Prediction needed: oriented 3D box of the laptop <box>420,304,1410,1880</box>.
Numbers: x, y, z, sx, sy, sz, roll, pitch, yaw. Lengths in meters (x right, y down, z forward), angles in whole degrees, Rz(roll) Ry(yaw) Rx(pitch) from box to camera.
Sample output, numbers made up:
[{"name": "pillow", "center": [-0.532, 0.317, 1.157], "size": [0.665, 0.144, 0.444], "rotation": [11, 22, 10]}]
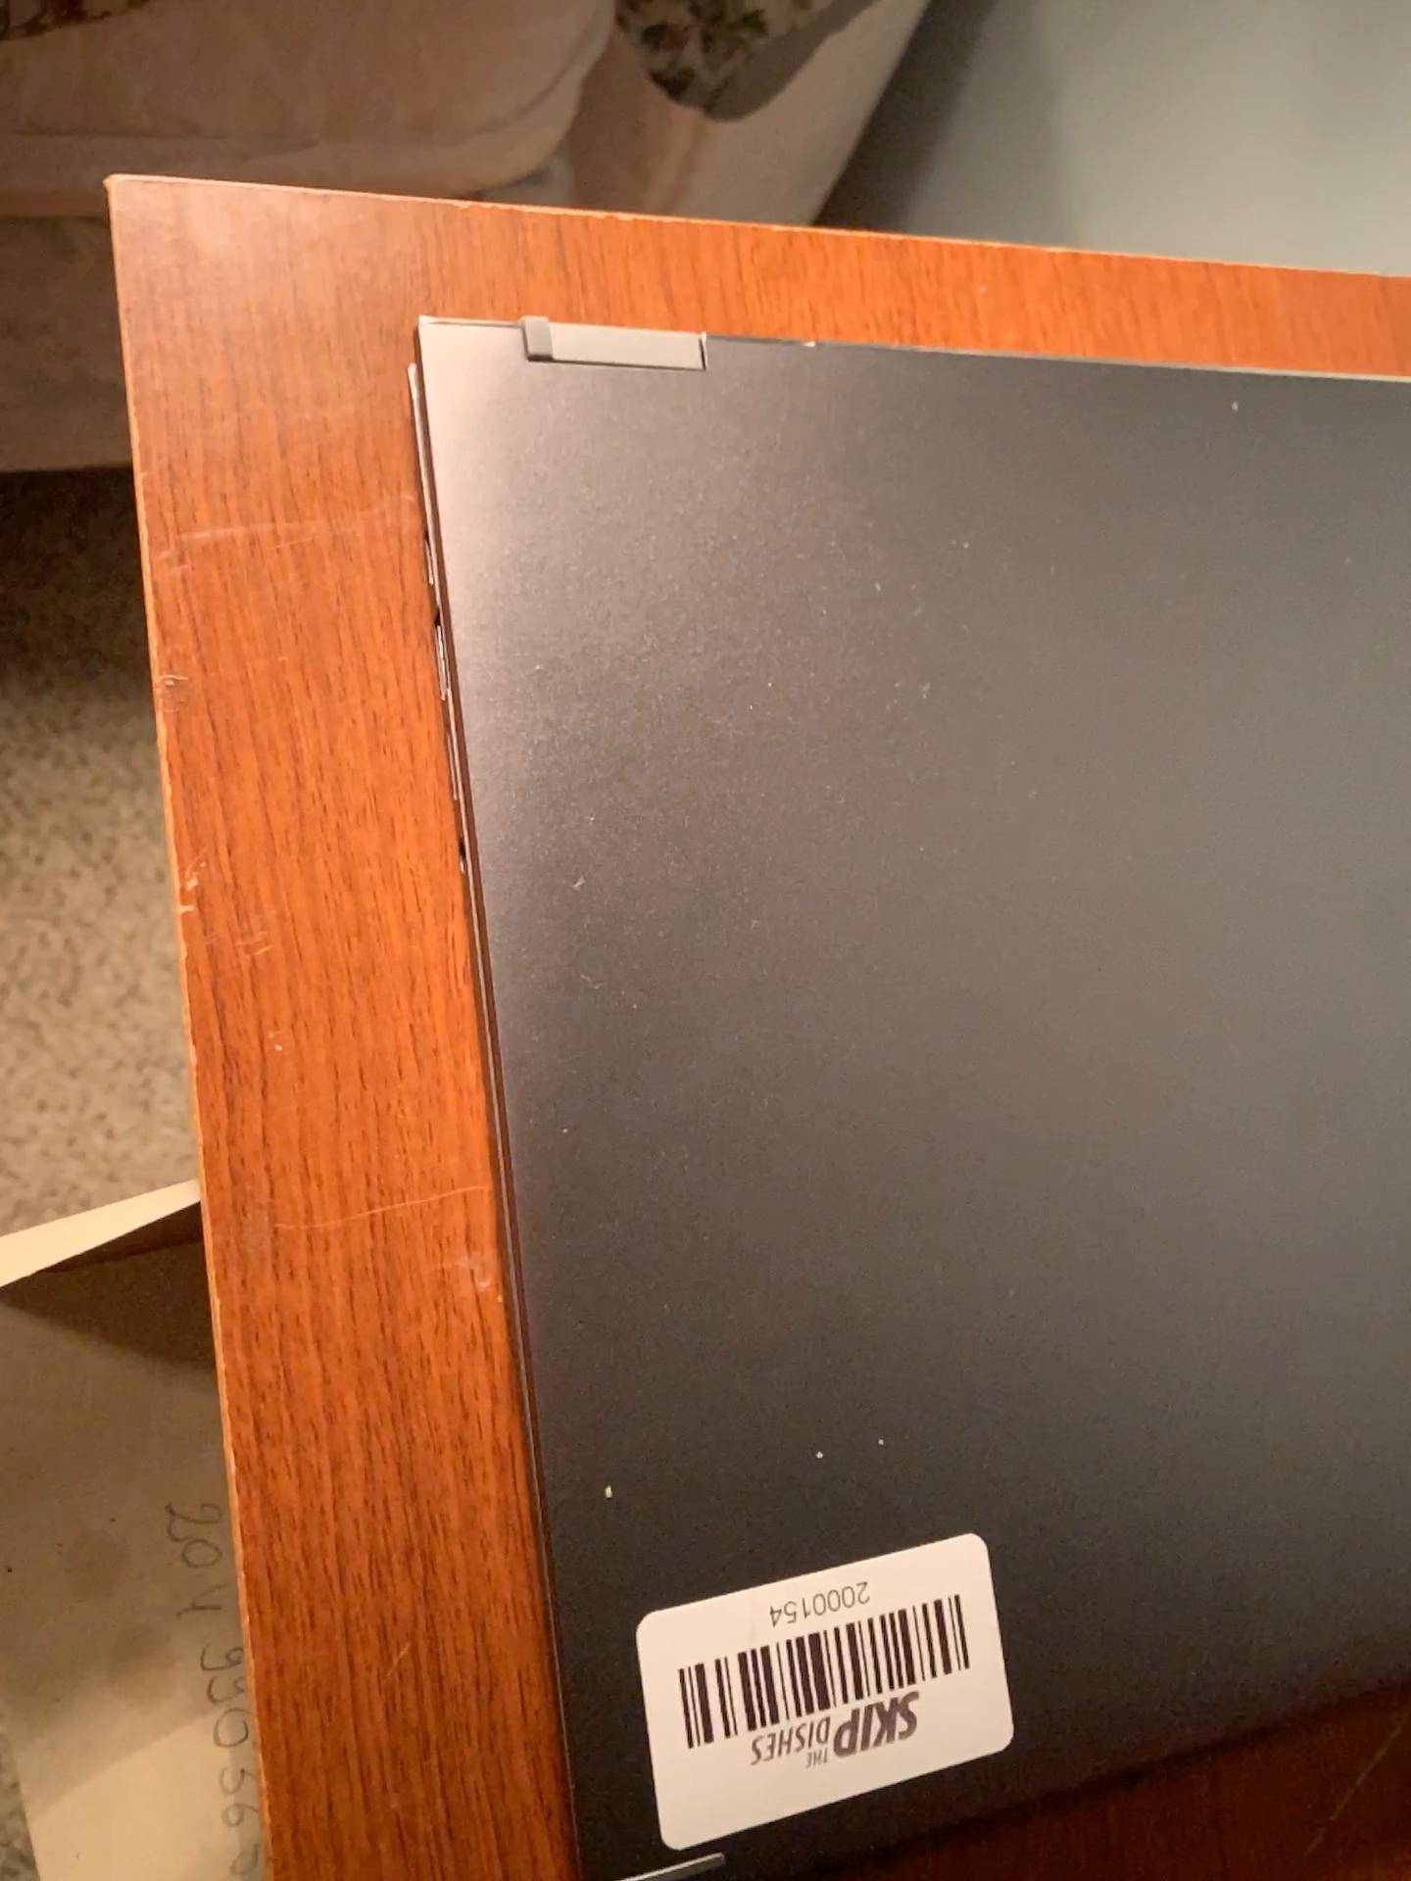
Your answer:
[{"name": "laptop", "center": [0.111, 0.004, 0.263], "size": [0.300, 0.002, 0.232], "rotation": [-4, 81, -20]}]
